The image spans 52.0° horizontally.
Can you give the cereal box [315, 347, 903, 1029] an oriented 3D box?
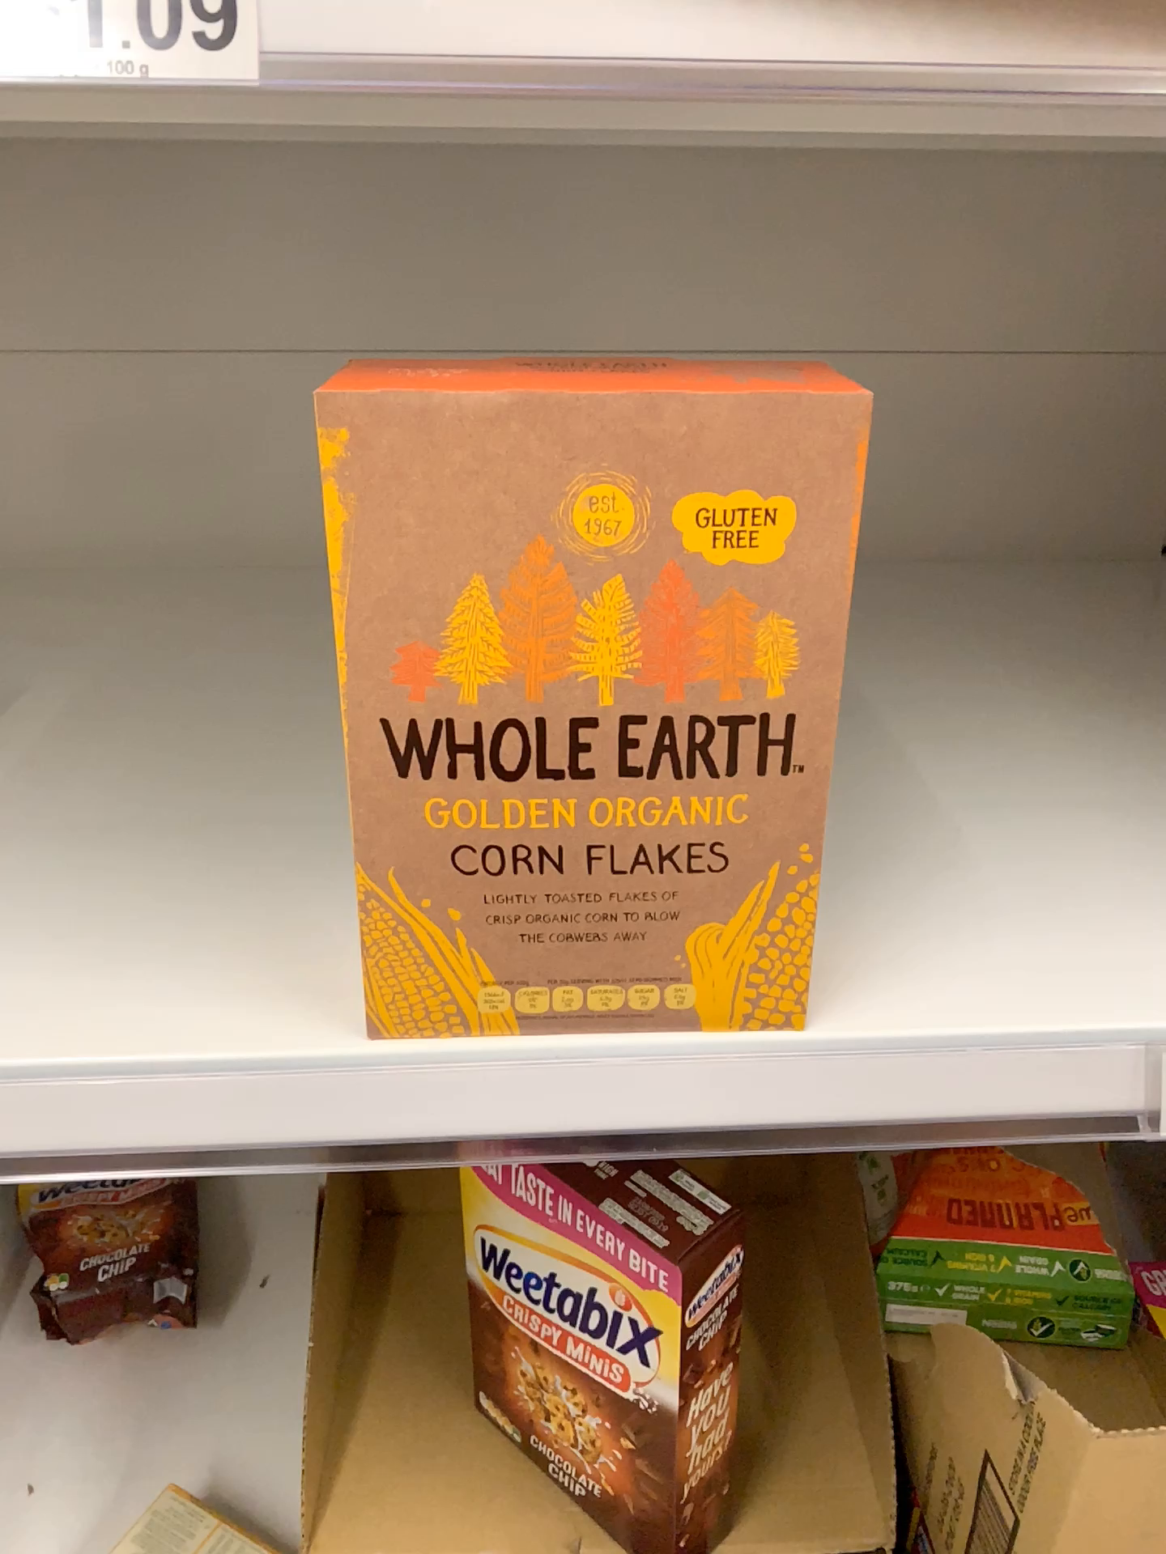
[{"bbox_3d":[0.007,-0.034,0.503,0.200,0.268,0.091,0,25,-2],"label":"cereal box"}]
